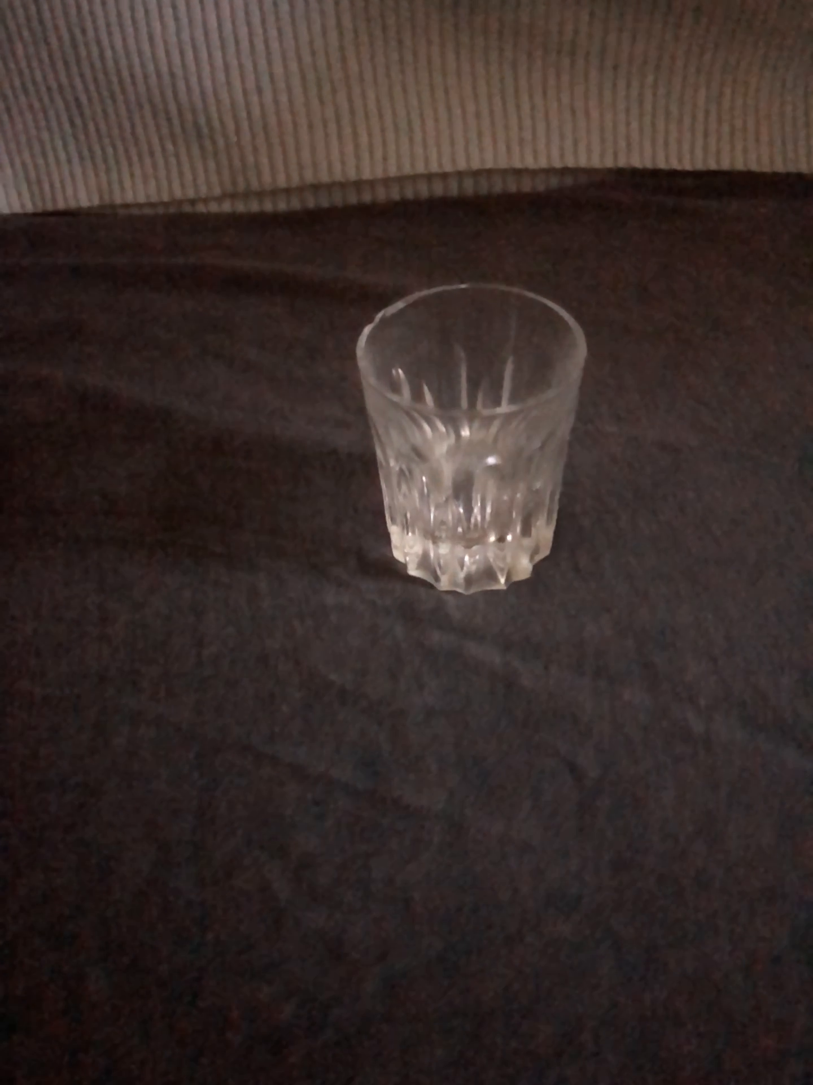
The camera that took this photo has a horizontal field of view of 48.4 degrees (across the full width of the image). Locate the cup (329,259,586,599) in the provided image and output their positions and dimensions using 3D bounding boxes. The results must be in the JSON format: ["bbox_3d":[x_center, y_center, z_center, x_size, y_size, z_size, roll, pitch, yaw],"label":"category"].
[{"bbox_3d":[0.015,-0.030,0.253,0.059,0.078,0.048,4,45,6],"label":"cup"}]
